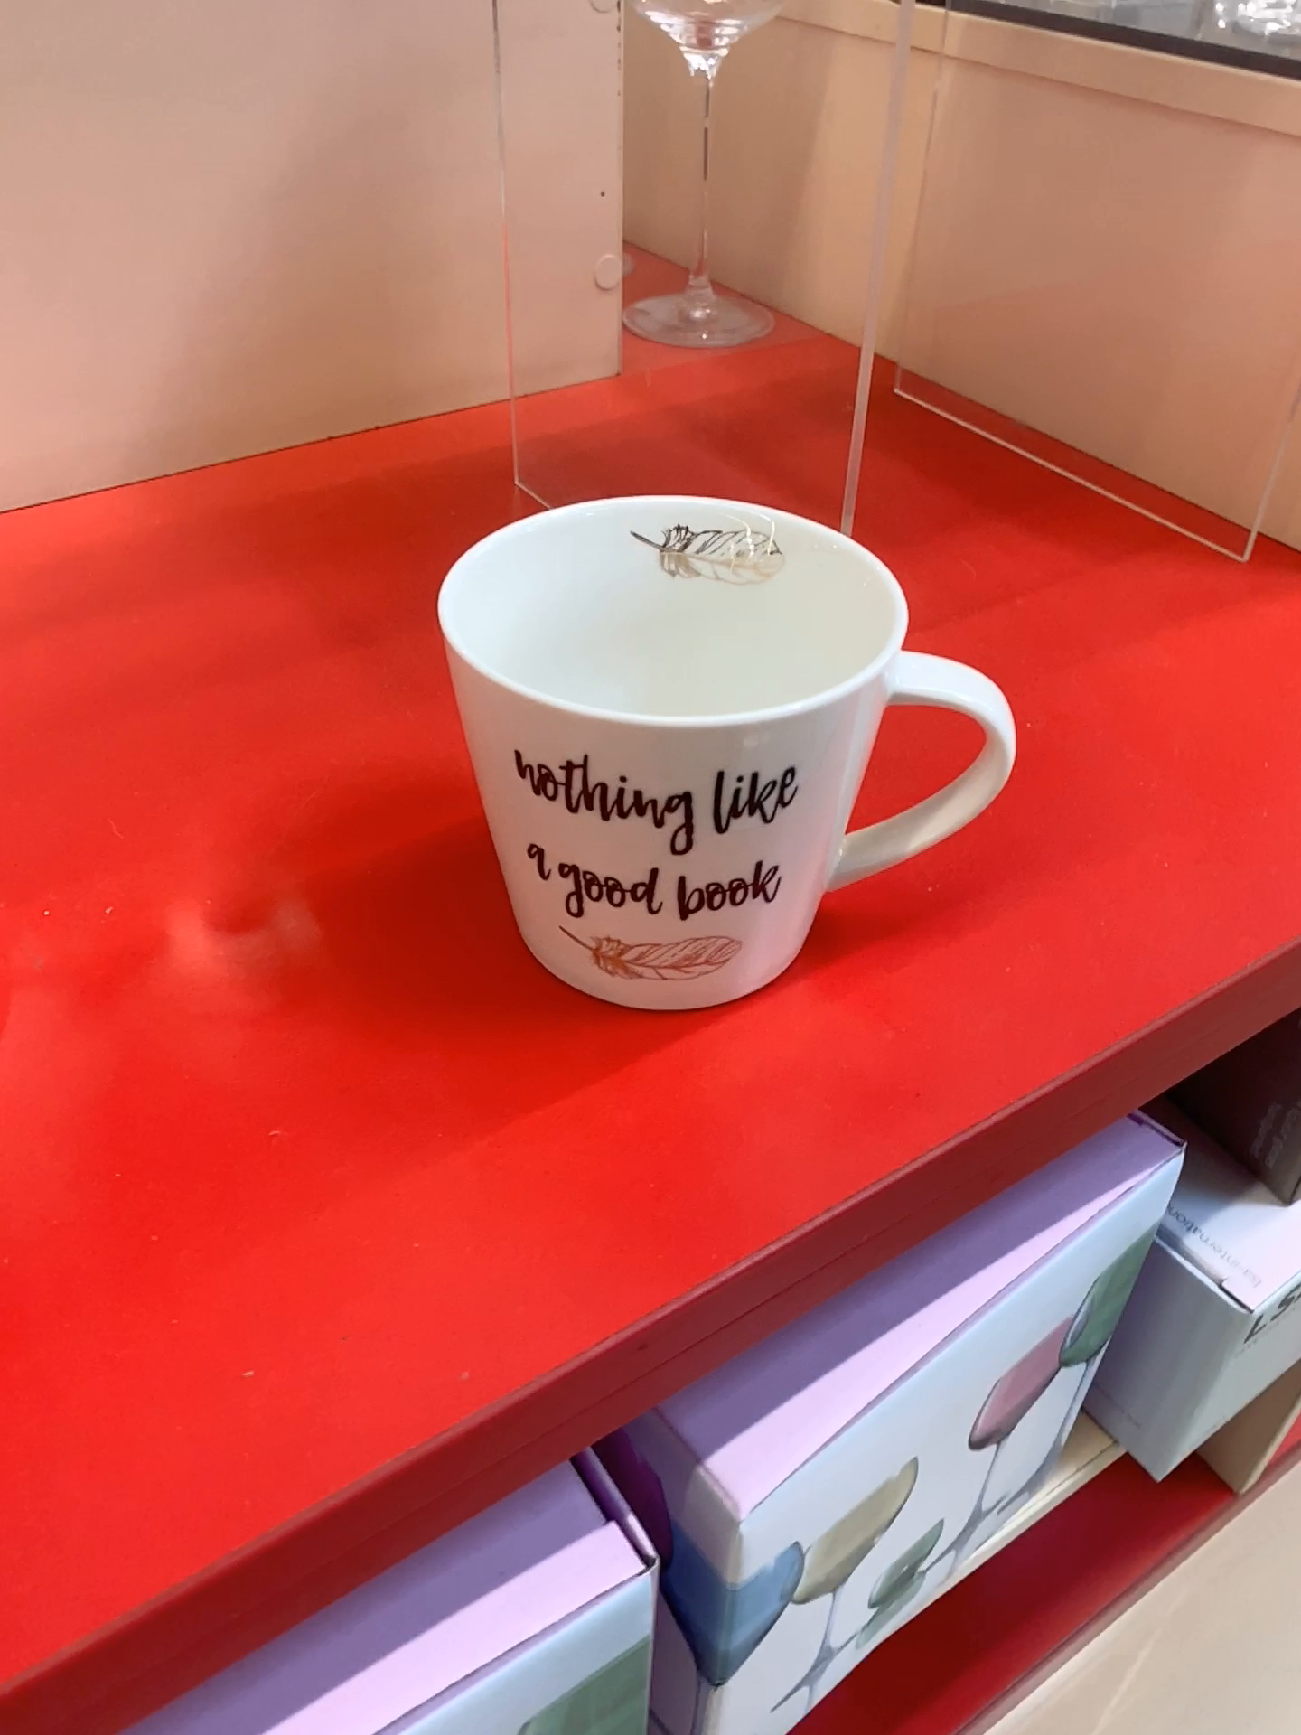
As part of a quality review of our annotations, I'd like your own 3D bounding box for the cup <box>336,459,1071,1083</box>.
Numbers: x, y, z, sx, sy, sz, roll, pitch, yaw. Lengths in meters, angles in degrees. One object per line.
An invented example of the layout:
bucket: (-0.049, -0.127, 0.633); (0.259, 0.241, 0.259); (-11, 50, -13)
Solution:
cup: (0.014, -0.025, 0.298); (0.130, 0.090, 0.090); (7, 39, 7)
